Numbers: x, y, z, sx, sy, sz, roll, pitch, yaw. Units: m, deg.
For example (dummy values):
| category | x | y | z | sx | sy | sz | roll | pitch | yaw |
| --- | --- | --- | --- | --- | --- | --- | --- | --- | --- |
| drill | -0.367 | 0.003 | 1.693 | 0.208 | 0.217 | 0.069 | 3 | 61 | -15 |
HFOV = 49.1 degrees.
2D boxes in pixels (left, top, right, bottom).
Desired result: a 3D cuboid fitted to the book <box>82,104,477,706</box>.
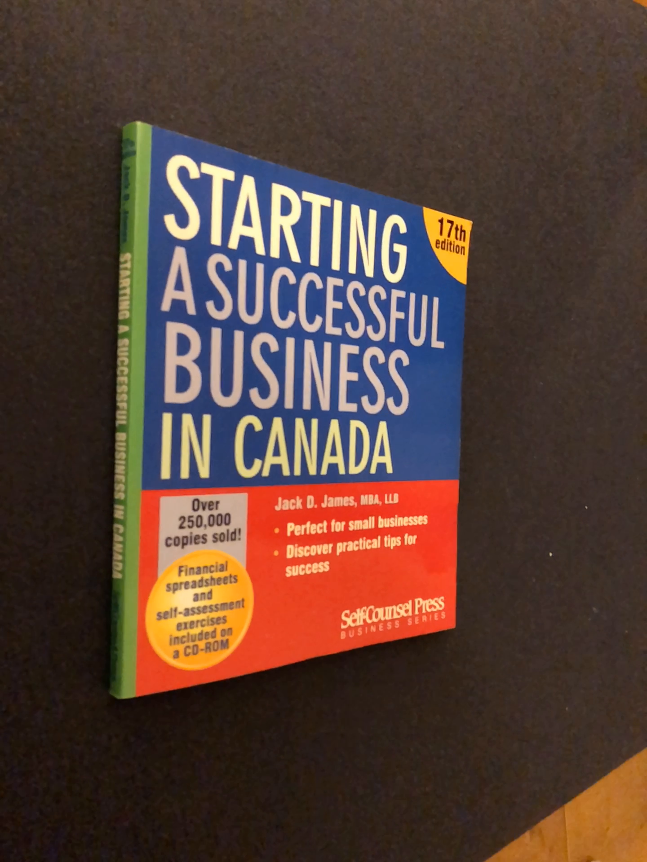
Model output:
| category | x | y | z | sx | sy | sz | roll | pitch | yaw |
| --- | --- | --- | --- | --- | --- | --- | --- | --- | --- |
| book | -0.009 | -0.008 | 0.370 | 0.211 | 0.040 | 0.247 | 2 | 89 | -38 |
